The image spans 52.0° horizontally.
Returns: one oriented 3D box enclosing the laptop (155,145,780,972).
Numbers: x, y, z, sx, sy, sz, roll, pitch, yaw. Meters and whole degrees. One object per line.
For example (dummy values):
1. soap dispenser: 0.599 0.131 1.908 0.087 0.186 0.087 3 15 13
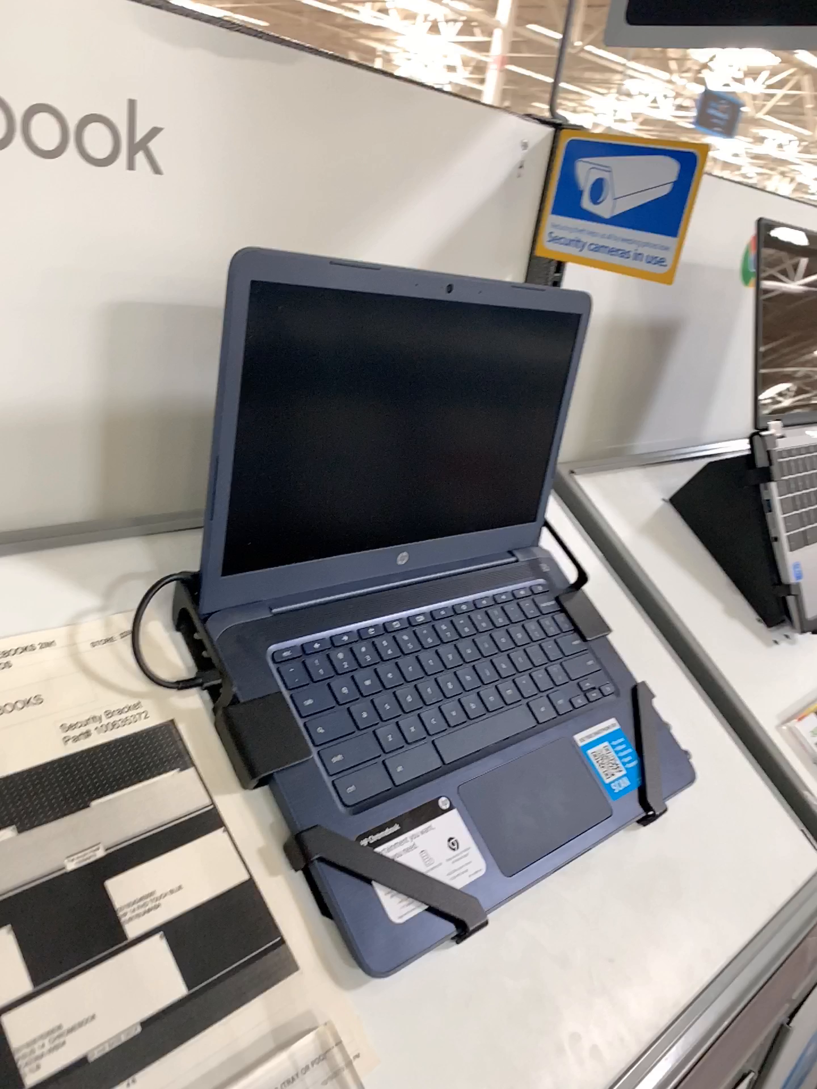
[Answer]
1. laptop: 0.041 -0.028 0.558 0.318 0.189 0.323 -10 51 -42
